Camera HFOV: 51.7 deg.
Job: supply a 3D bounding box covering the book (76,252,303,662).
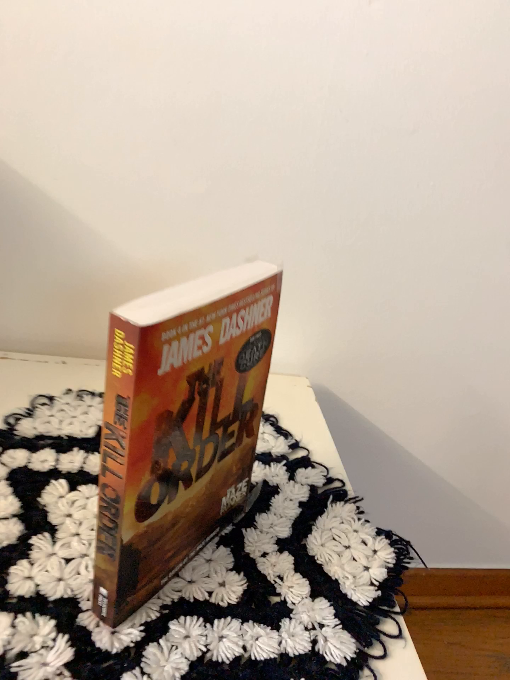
[{"bbox_3d":[-0.039,0.064,0.340,0.030,0.218,0.161,21,26,26],"label":"book"}]
